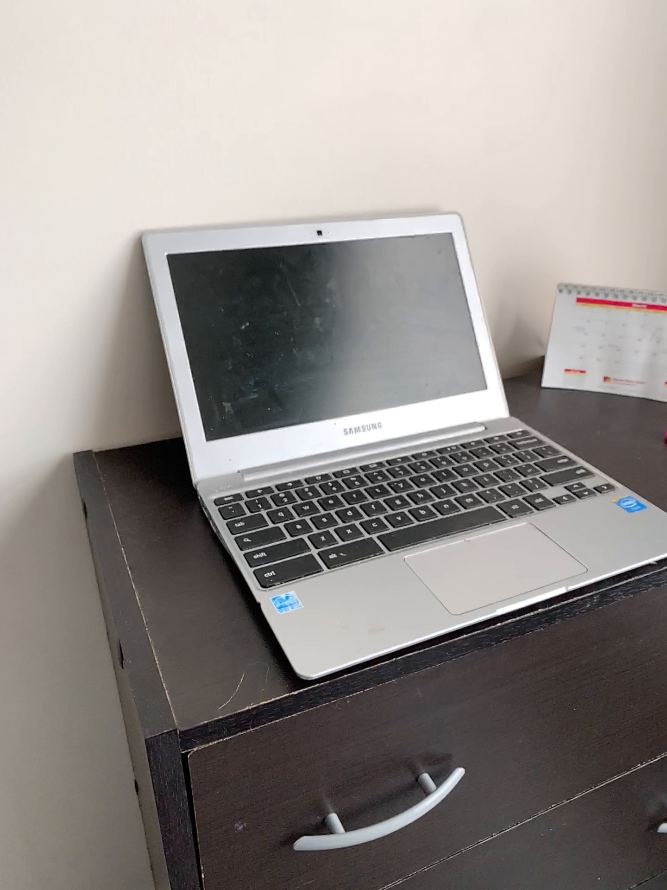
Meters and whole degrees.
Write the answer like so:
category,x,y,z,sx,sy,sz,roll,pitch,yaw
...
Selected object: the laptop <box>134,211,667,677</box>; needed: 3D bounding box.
category,x,y,z,sx,sy,sz,roll,pitch,yaw
laptop,0.046,-0.052,0.489,0.291,0.153,0.318,-12,30,-23
